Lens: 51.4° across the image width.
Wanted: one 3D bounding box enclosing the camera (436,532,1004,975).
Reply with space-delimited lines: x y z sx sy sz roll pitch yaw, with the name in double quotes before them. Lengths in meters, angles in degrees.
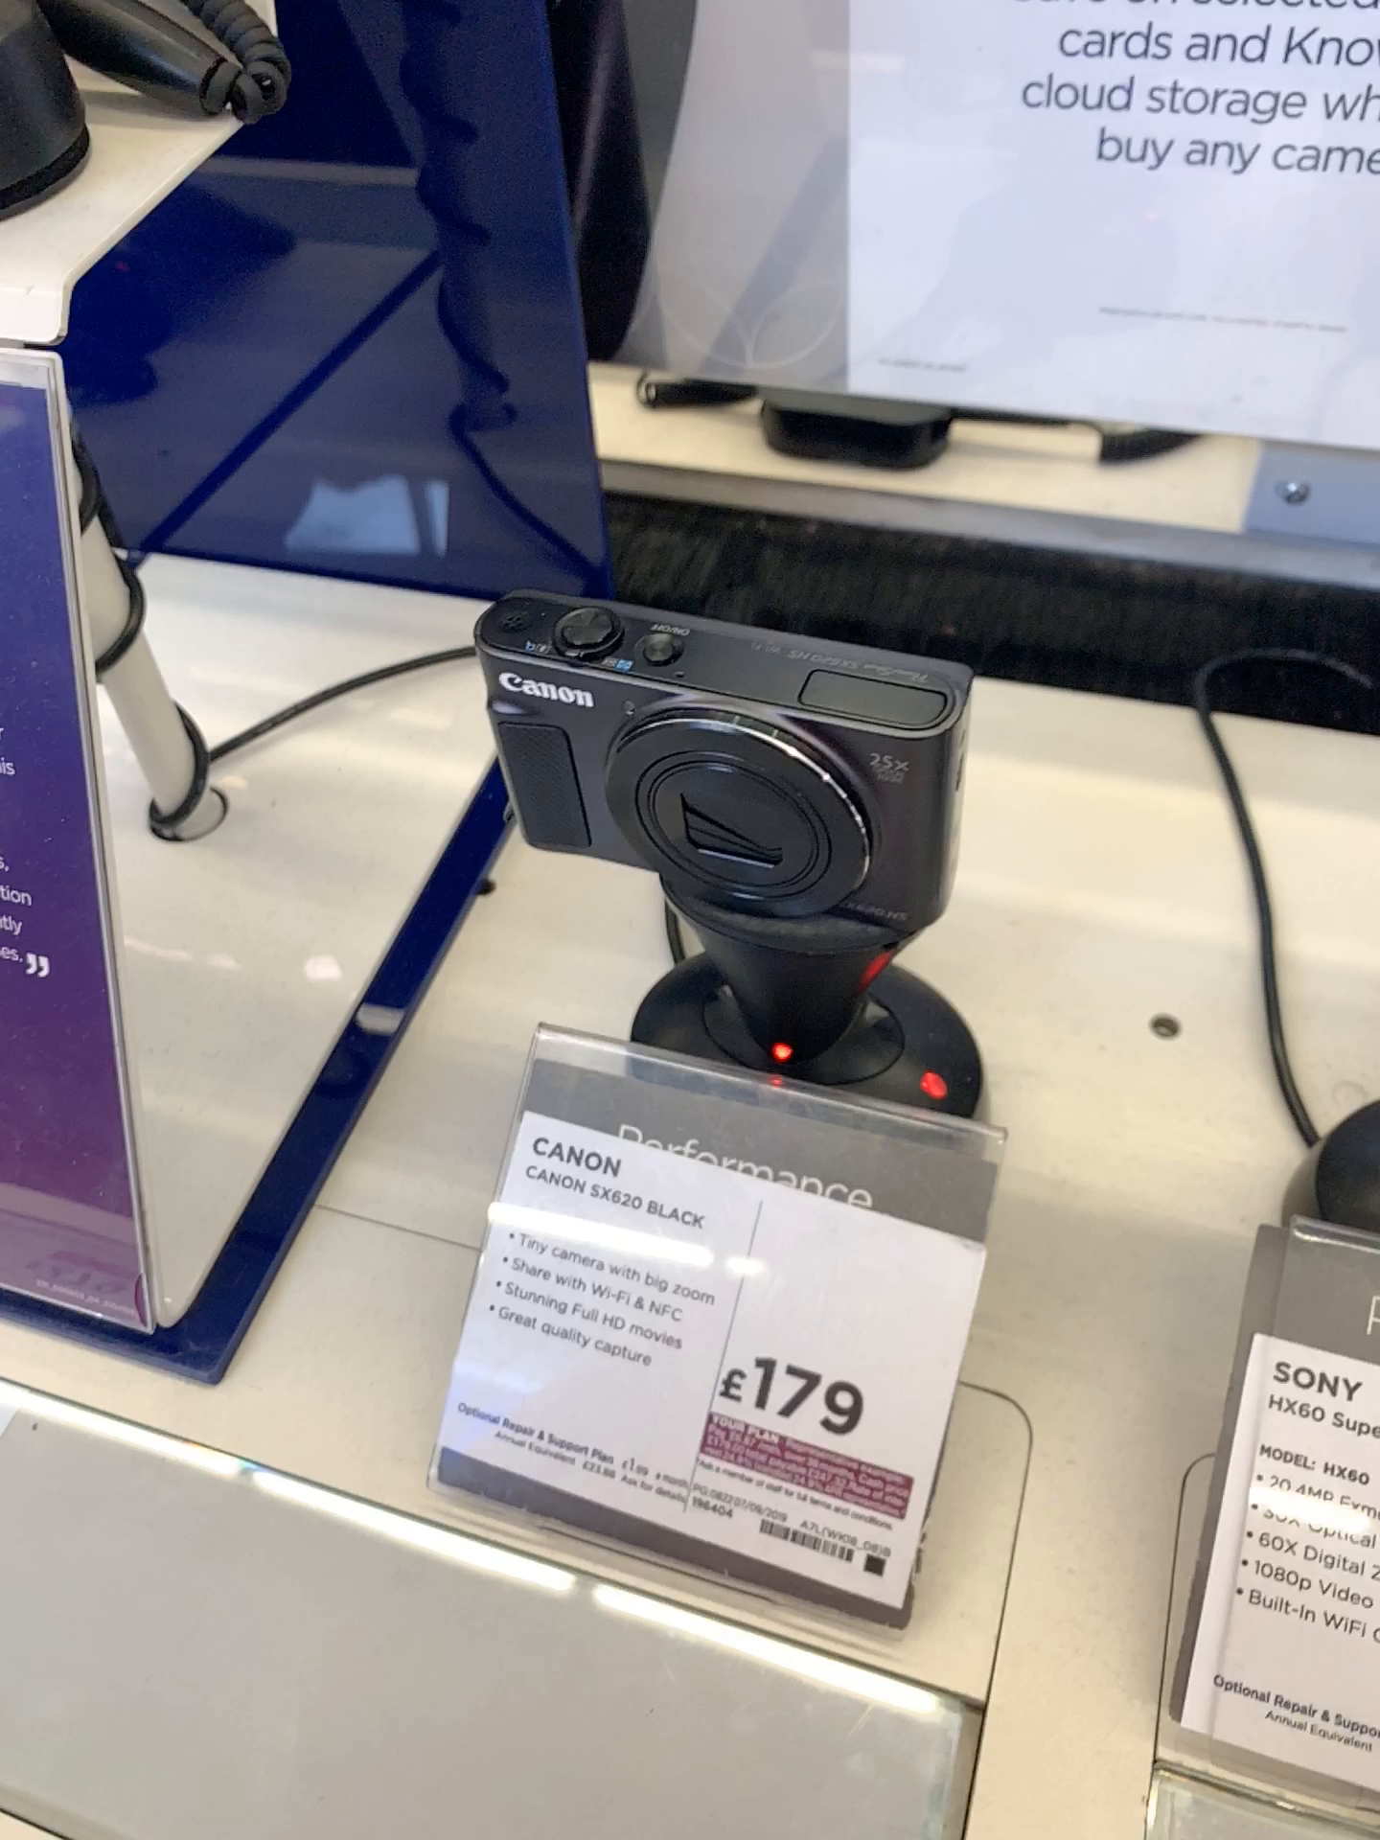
"camera" 0.007 -0.030 0.262 0.090 0.059 0.030 13 53 16
